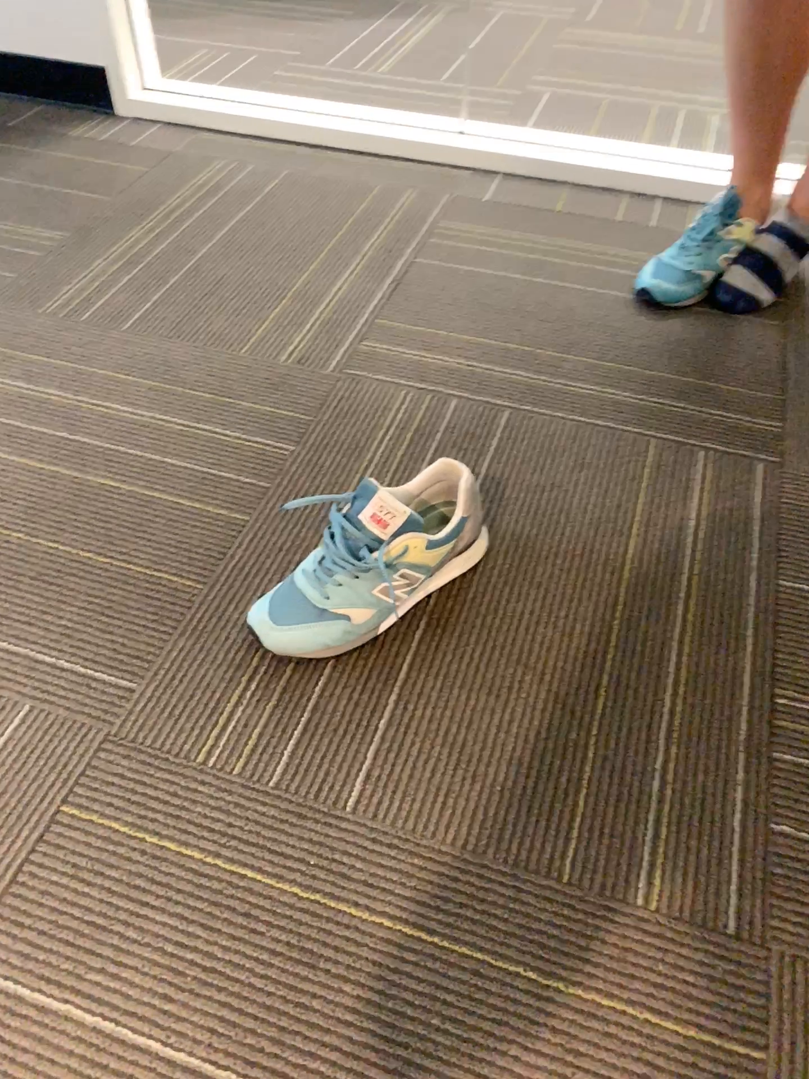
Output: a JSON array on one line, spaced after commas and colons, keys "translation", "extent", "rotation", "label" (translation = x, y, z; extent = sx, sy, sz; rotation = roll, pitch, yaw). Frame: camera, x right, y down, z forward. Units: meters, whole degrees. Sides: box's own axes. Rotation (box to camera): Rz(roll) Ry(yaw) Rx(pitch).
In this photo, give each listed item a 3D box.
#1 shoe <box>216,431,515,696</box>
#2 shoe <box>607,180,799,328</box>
[{"translation": [-0.034, 0.015, 0.880], "extent": [0.290, 0.099, 0.130], "rotation": [-33, 55, -28], "label": "shoe"}, {"translation": [0.474, -0.459, 1.310], "extent": [0.290, 0.099, 0.130], "rotation": [-33, 55, -28], "label": "shoe"}]
